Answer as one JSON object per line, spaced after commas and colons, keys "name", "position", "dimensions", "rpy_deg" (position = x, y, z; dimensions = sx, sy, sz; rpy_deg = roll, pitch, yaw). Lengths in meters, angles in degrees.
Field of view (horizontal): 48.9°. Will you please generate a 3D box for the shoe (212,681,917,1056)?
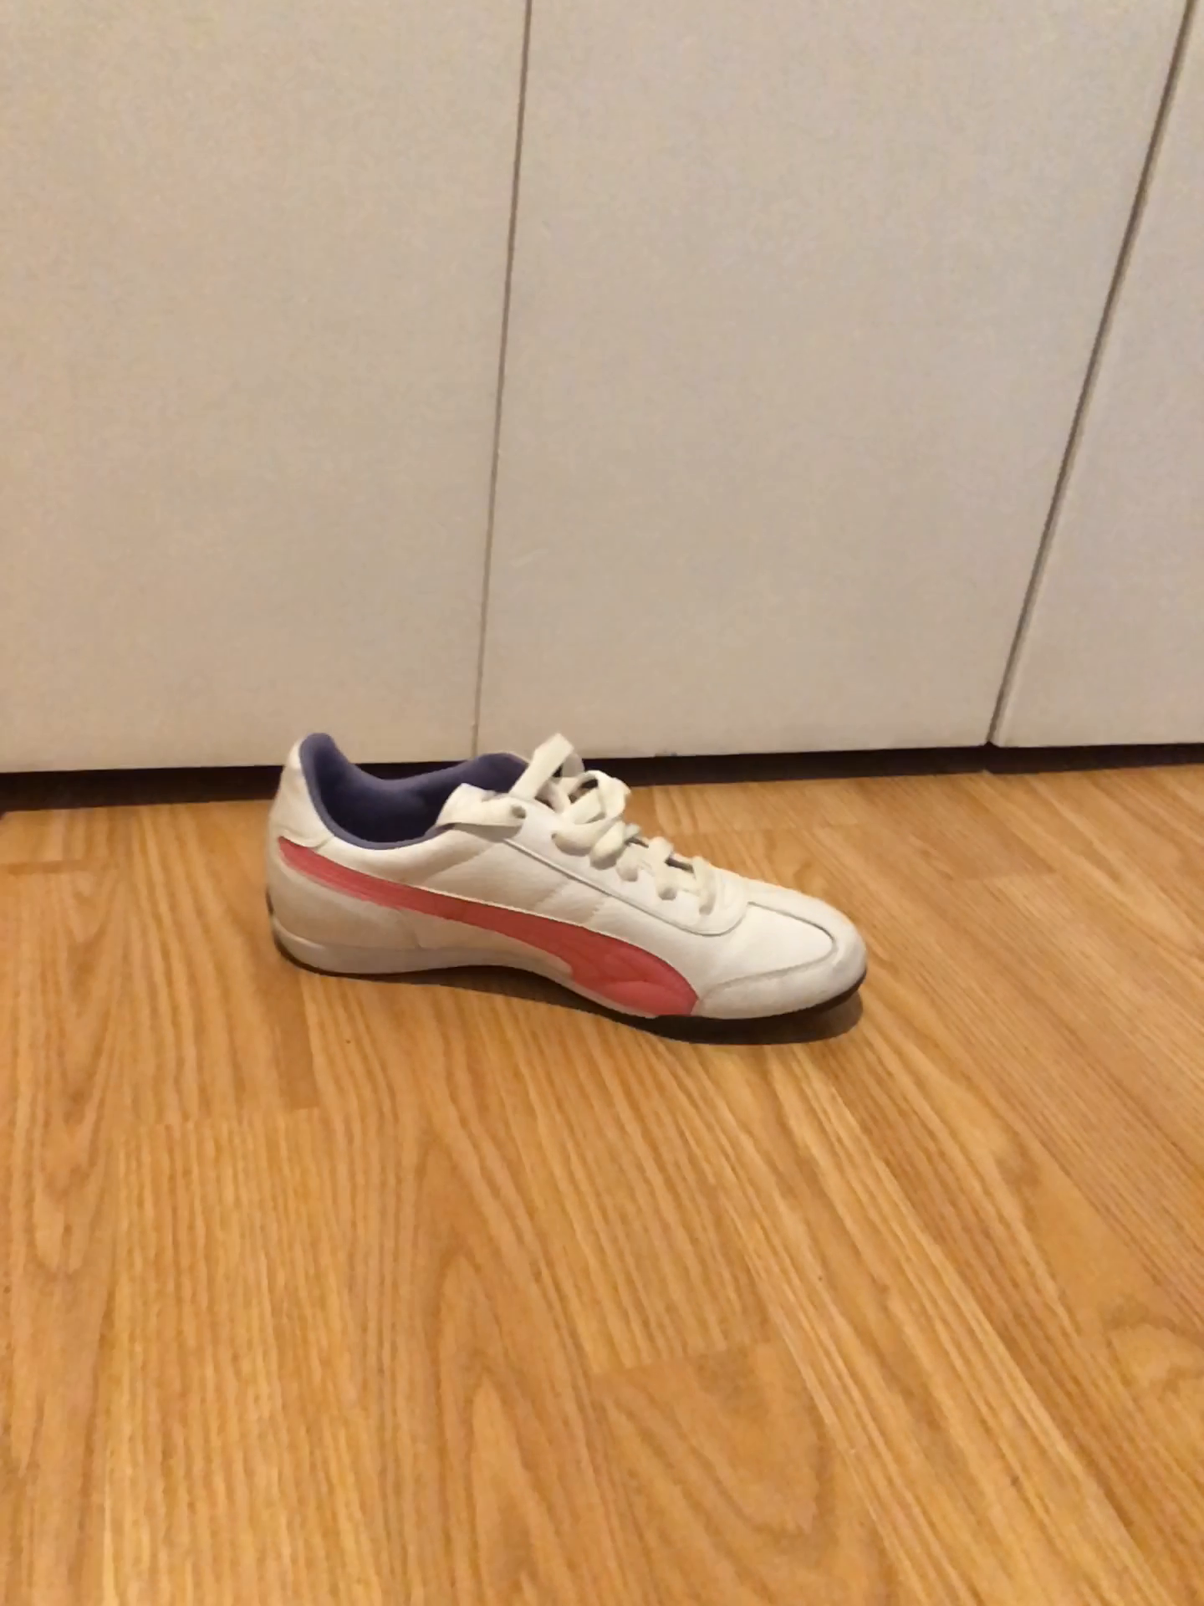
{"name": "shoe", "position": [-0.015, 0.023, 0.545], "dimensions": [0.260, 0.080, 0.100], "rpy_deg": [8, 27, 1]}
